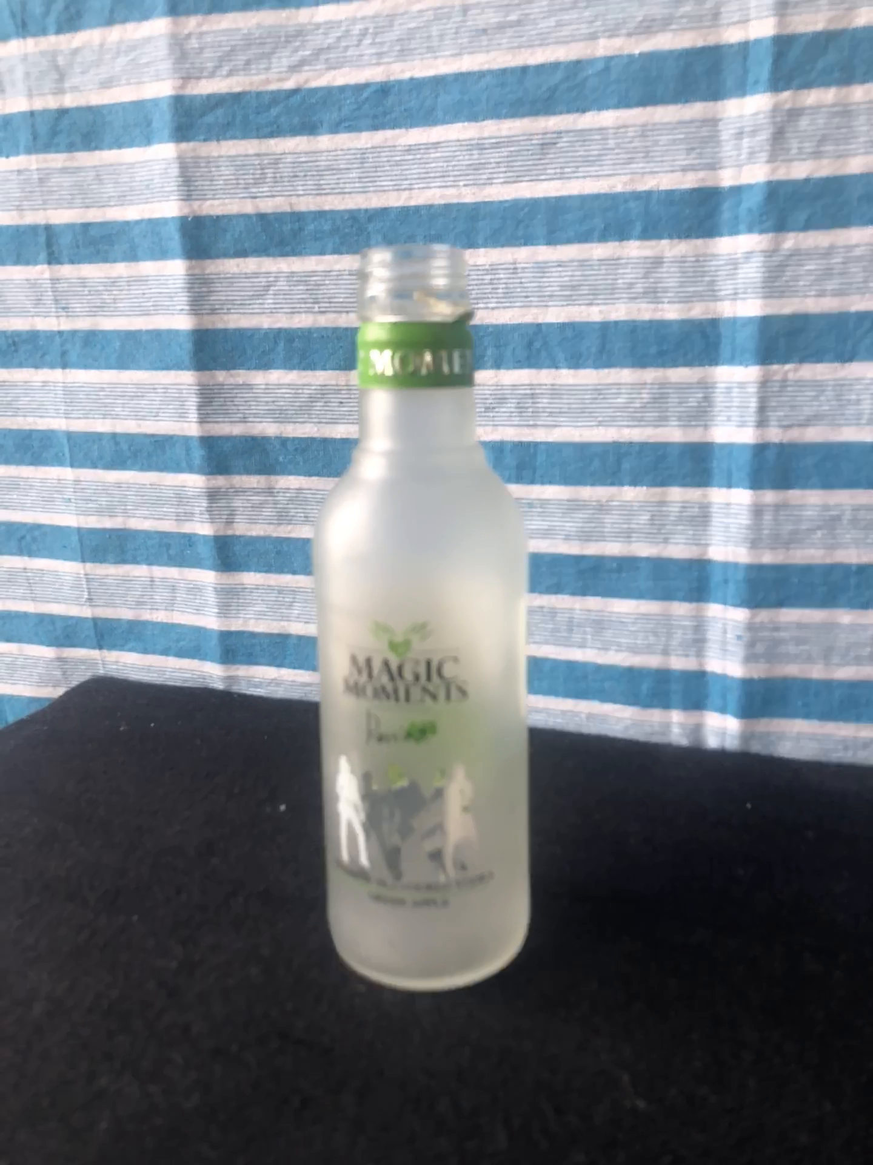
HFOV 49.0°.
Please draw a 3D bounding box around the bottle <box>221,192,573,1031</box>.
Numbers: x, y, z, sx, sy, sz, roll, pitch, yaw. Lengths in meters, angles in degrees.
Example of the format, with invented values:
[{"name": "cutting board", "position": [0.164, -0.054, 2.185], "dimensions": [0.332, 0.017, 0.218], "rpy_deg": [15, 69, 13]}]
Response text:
[{"name": "bottle", "position": [-0.003, 0.005, 0.192], "dimensions": [0.050, 0.149, 0.050], "rpy_deg": [0, 16, 0]}]
